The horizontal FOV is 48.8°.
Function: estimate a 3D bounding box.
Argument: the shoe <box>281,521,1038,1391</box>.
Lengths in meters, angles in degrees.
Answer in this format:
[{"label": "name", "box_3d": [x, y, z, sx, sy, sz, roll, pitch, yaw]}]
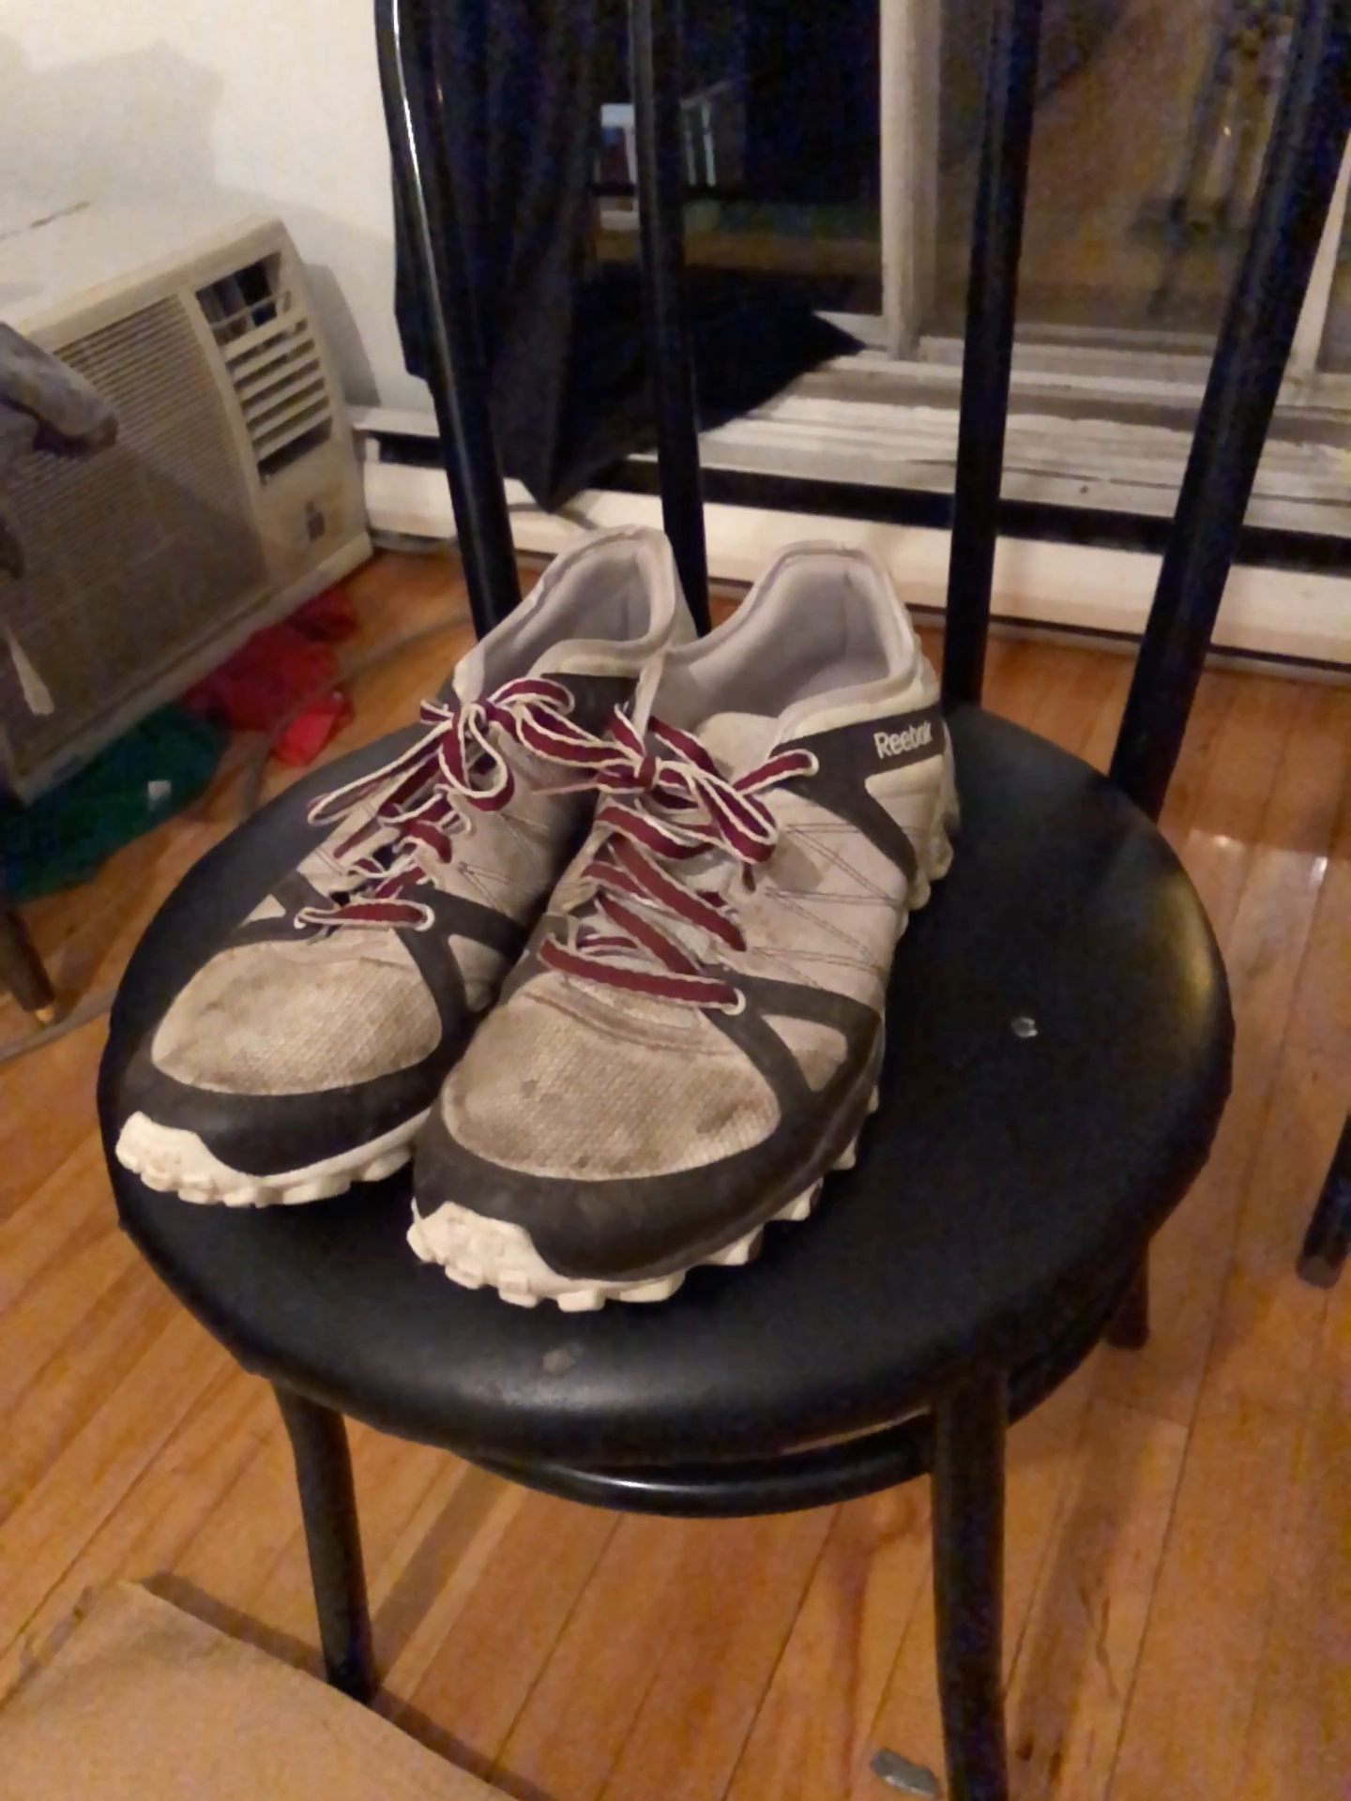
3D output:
[{"label": "shoe", "box_3d": [0.018, -0.009, 0.461, 0.110, 0.089, 0.282, 13, 43, 23]}]

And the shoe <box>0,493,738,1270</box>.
[{"label": "shoe", "box_3d": [-0.087, -0.028, 0.489, 0.110, 0.089, 0.272, 13, 43, 23]}]
